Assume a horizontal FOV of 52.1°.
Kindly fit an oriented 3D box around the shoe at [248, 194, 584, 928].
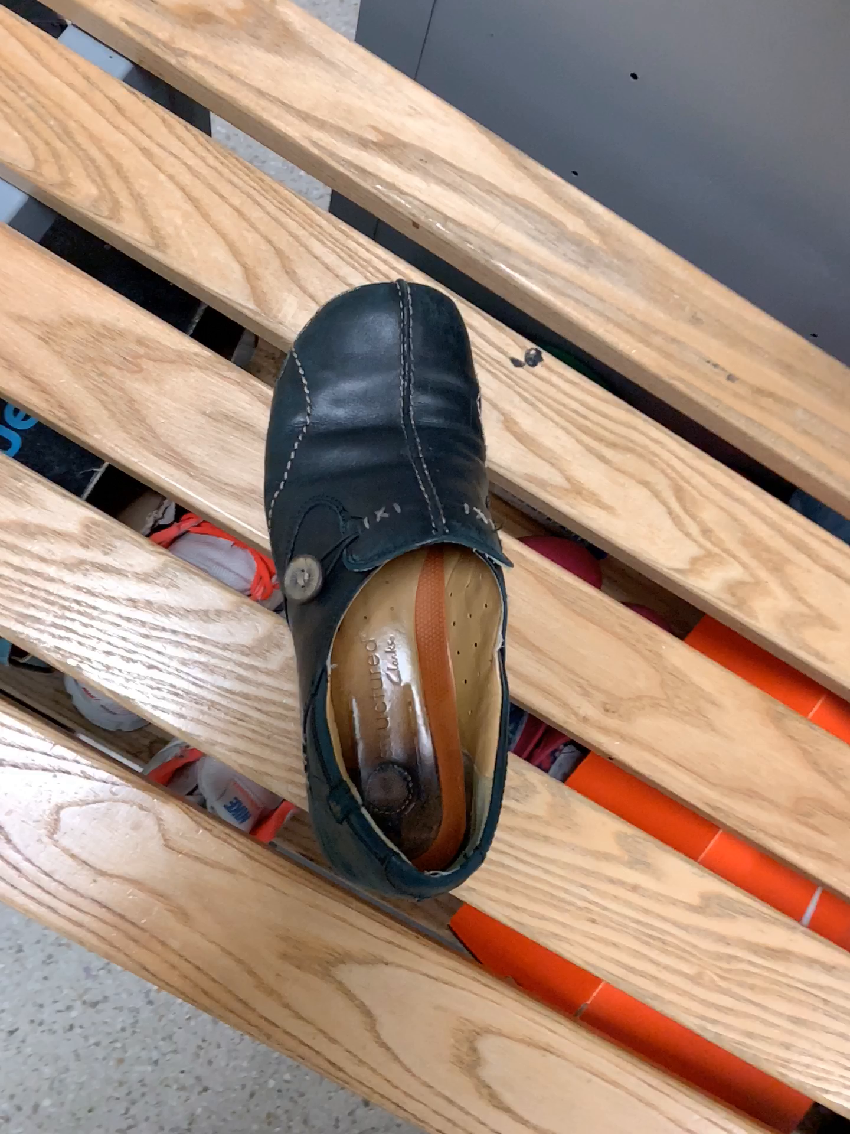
[{"bbox_3d":[-0.012,-0.008,0.359,0.104,0.075,0.268,-3,81,-12],"label":"shoe"}]
